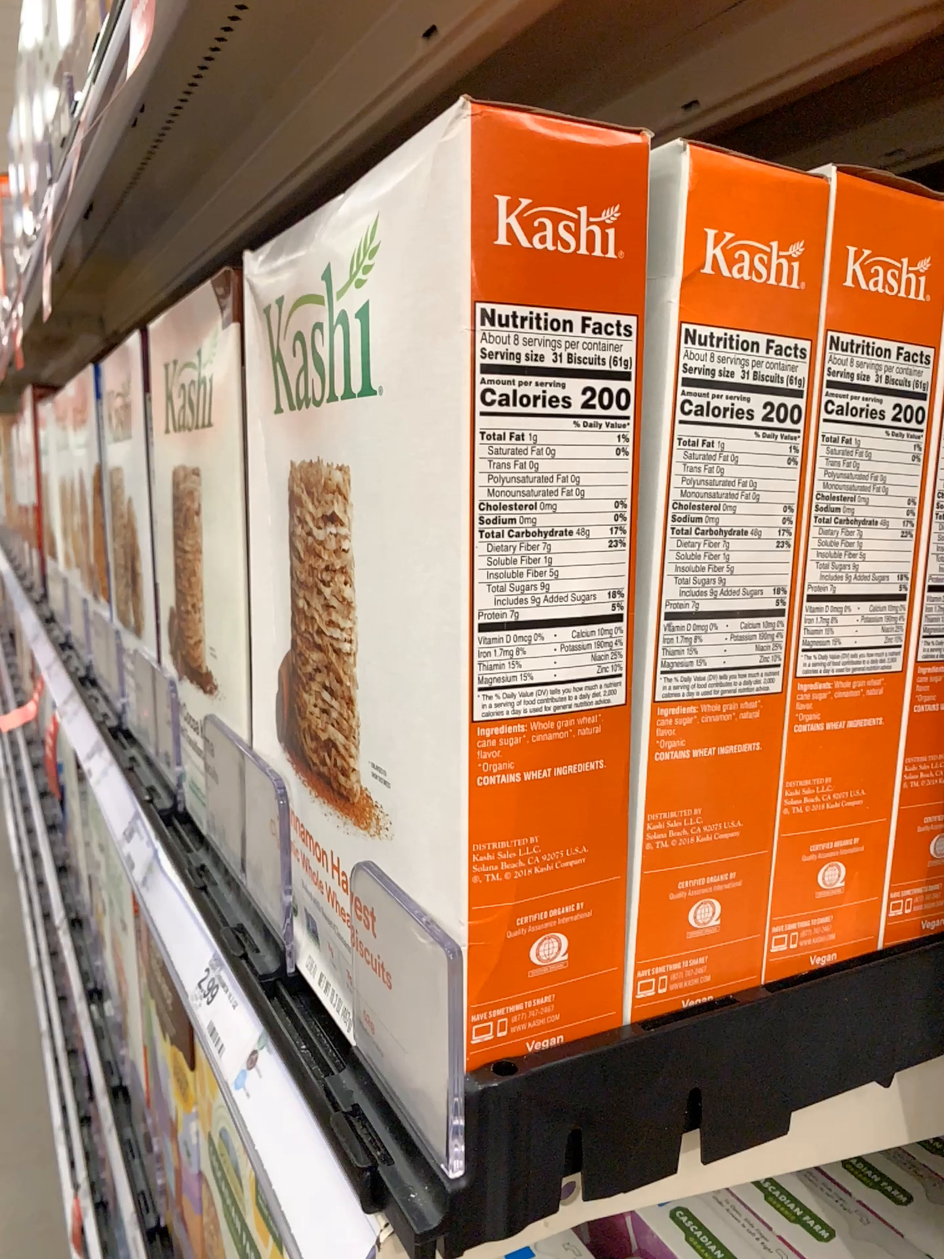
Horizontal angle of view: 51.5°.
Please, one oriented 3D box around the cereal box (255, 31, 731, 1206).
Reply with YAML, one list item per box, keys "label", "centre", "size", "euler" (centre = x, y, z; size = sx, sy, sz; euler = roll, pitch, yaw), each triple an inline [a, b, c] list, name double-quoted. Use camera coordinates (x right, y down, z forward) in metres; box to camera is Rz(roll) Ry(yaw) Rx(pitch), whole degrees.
- label: "cereal box"
  centre: [-0.013, -0.007, 0.331]
  size: [0.070, 0.279, 0.190]
  euler: [-3, 9, -27]
